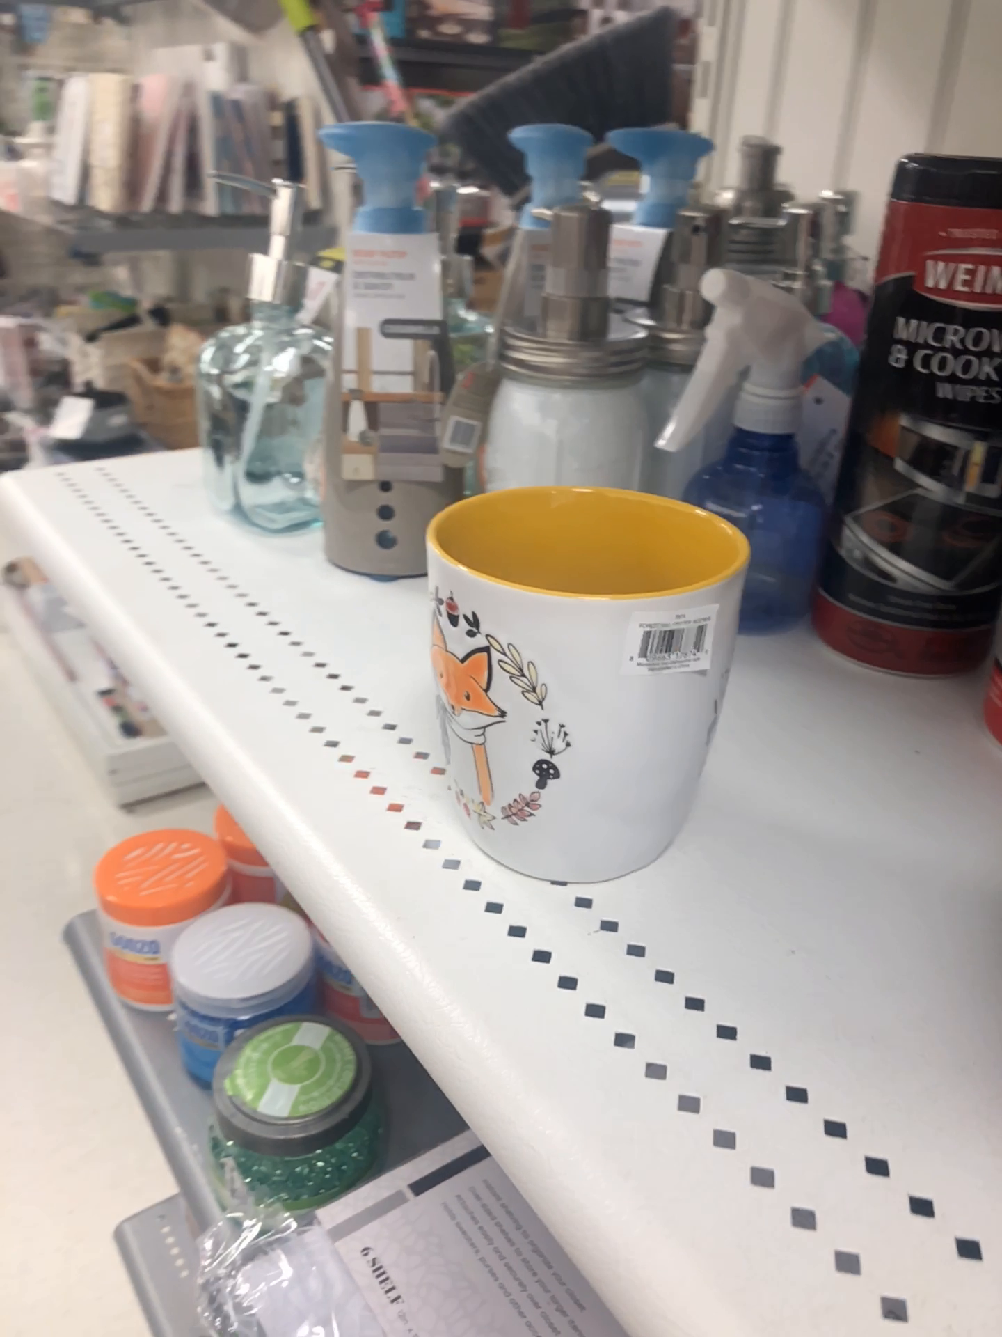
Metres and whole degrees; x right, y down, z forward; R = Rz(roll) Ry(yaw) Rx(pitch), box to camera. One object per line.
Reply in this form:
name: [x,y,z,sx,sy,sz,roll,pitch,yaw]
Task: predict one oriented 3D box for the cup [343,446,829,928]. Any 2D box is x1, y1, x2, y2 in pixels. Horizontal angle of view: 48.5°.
cup: [0.016,-0.005,0.359,0.099,0.093,0.134,-8,28,-21]
